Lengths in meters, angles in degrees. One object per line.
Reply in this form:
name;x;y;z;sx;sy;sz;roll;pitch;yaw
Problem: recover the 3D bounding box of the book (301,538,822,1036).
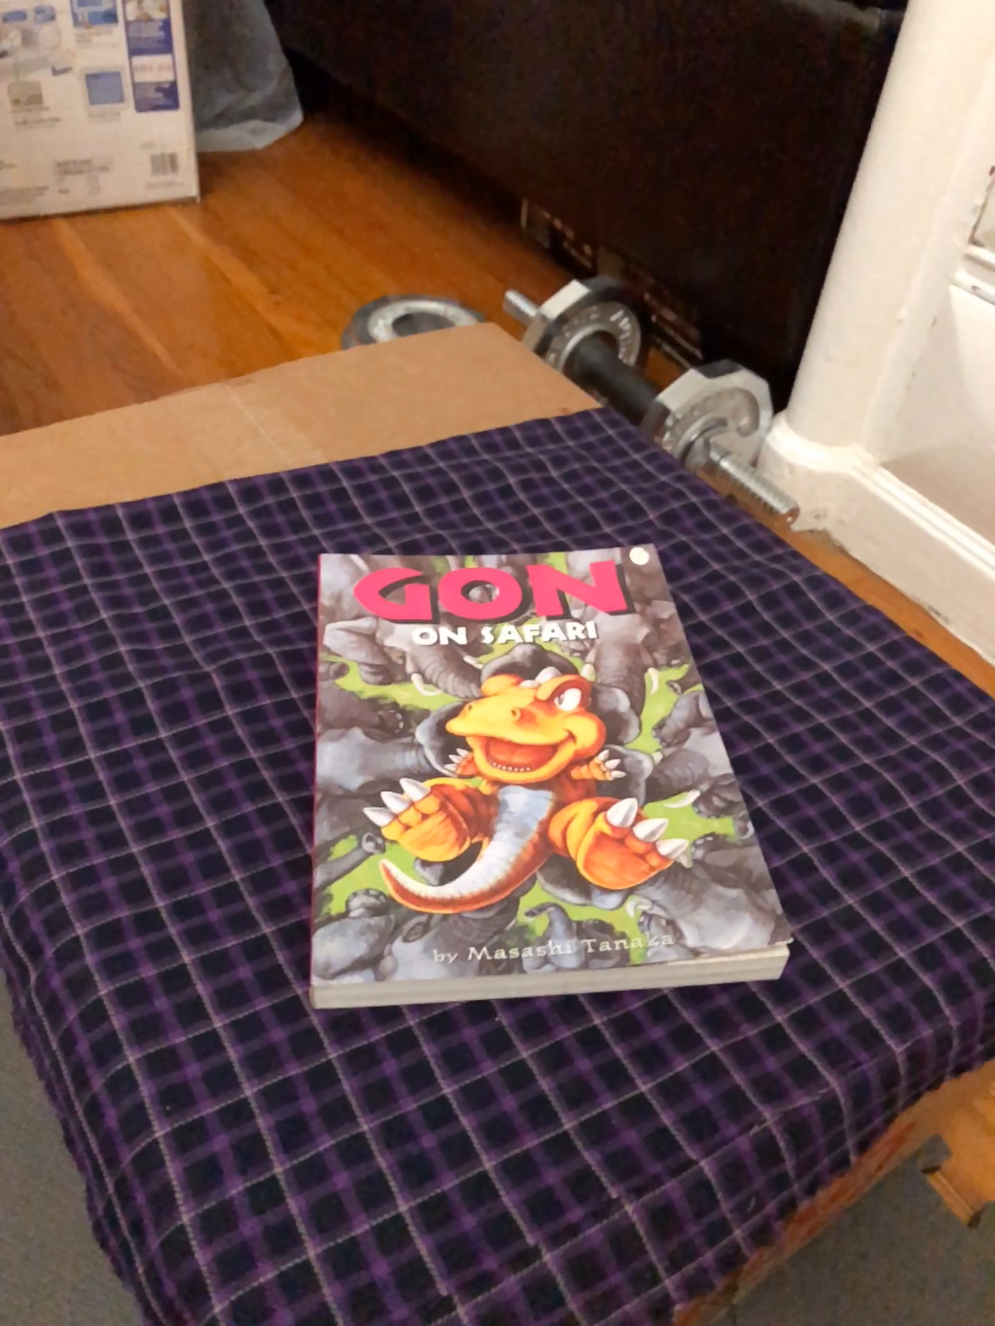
book;0.009;0.027;0.395;0.150;0.020;0.211;-1;43;-7
